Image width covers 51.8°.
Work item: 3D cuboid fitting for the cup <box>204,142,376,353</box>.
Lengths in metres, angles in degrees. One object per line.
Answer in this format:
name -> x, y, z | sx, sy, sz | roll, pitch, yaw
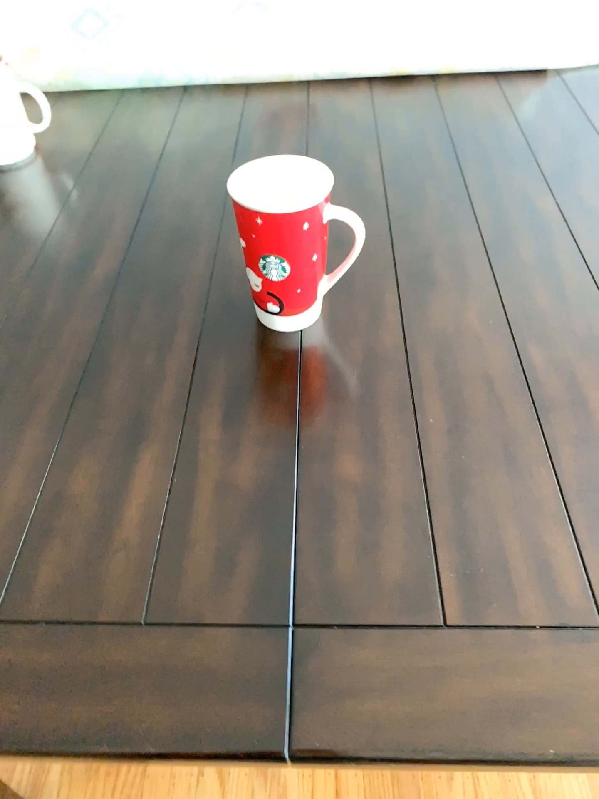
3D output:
cup -> -0.004, -0.135, 0.557 | 0.120, 0.149, 0.080 | 13, 50, 14
